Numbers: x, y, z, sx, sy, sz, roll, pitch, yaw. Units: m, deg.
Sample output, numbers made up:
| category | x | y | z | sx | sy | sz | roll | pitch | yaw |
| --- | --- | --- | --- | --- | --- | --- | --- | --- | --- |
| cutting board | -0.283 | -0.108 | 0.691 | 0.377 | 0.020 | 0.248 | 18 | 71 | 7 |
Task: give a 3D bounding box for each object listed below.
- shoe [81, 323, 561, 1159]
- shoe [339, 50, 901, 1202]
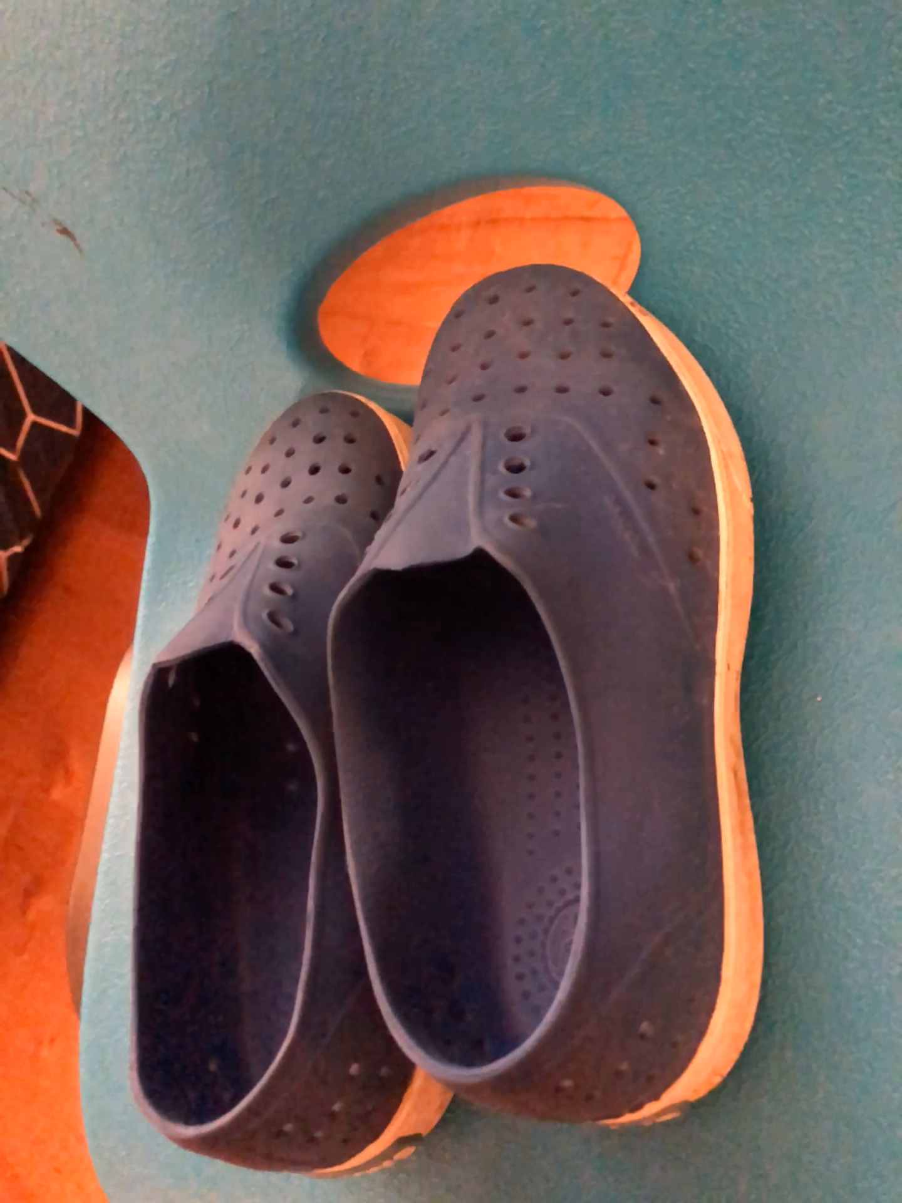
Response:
| category | x | y | z | sx | sy | sz | roll | pitch | yaw |
| --- | --- | --- | --- | --- | --- | --- | --- | --- | --- |
| shoe | -0.036 | 0.040 | 0.296 | 0.090 | 0.080 | 0.211 | -18 | 62 | 29 |
| shoe | 0.034 | 0.000 | 0.243 | 0.100 | 0.070 | 0.241 | -18 | 62 | 29 |
